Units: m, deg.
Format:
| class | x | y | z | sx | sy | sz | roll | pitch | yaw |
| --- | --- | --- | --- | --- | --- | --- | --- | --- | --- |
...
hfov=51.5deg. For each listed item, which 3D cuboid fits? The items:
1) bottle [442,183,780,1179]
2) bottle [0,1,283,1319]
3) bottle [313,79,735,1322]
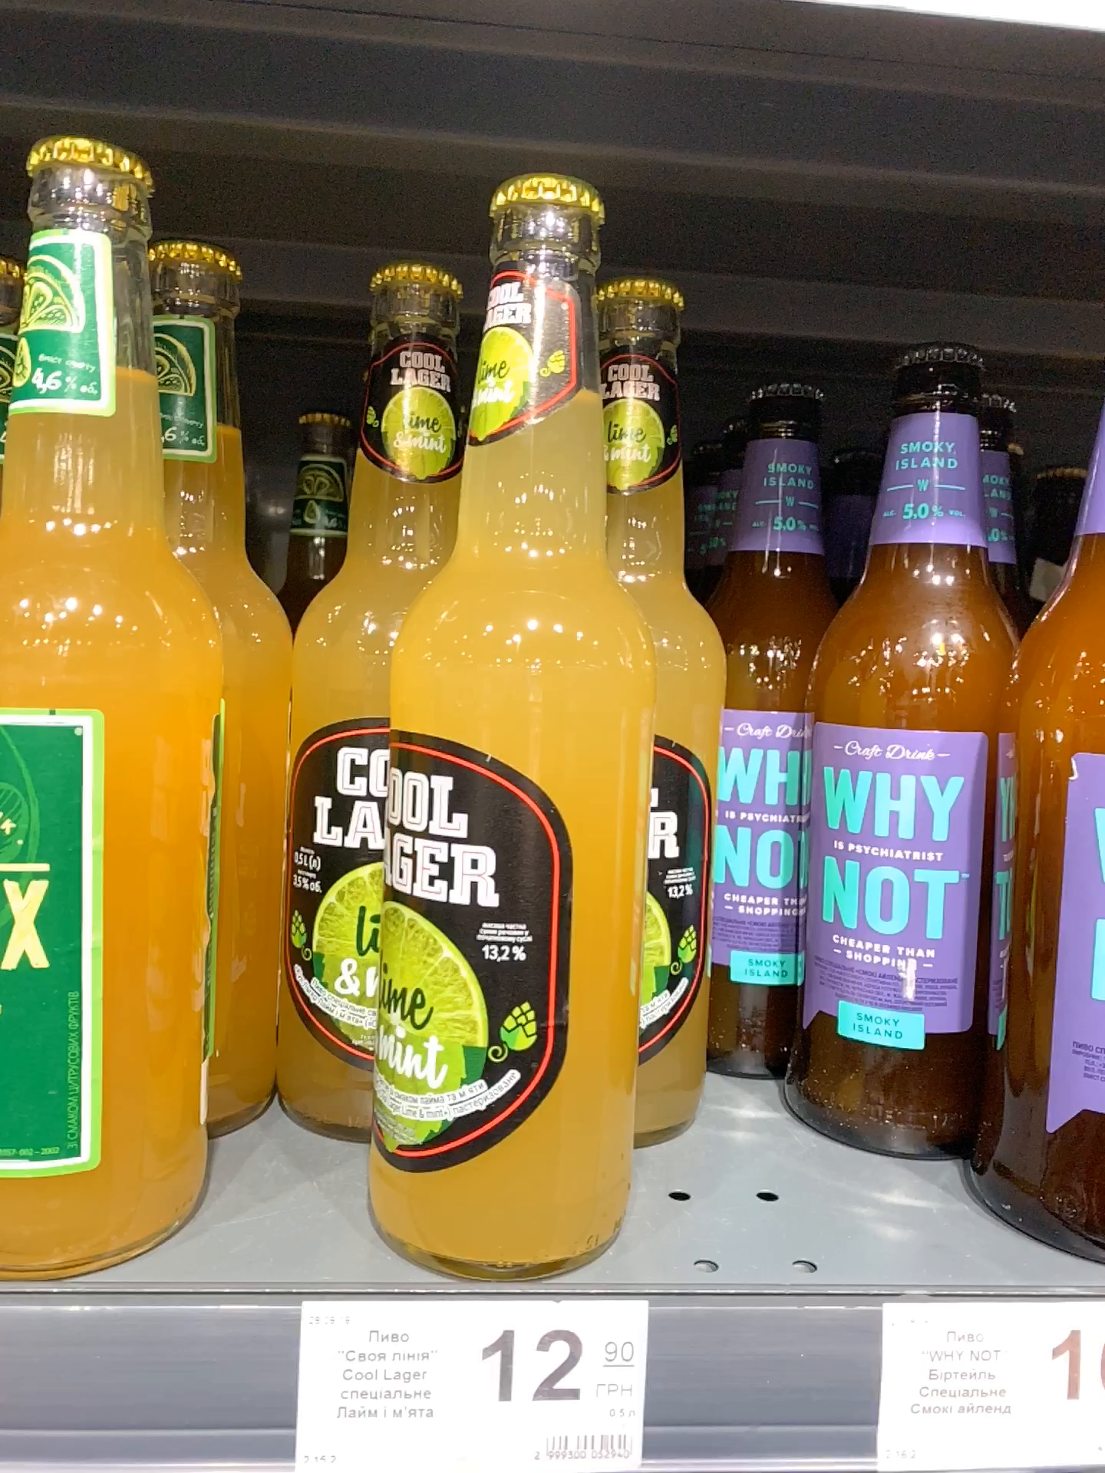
| class | x | y | z | sx | sy | sz | roll | pitch | yaw |
| --- | --- | --- | --- | --- | --- | --- | --- | --- | --- |
| bottle | 0.018 | -0.015 | 0.344 | 0.063 | 0.260 | 0.069 | 2 | 4 | 0 |
| bottle | -0.119 | -0.015 | 0.274 | 0.078 | 0.260 | 0.064 | 5 | 5 | 34 |
| bottle | -0.007 | -0.007 | 0.270 | 0.063 | 0.244 | 0.065 | 2 | 4 | 0 |
